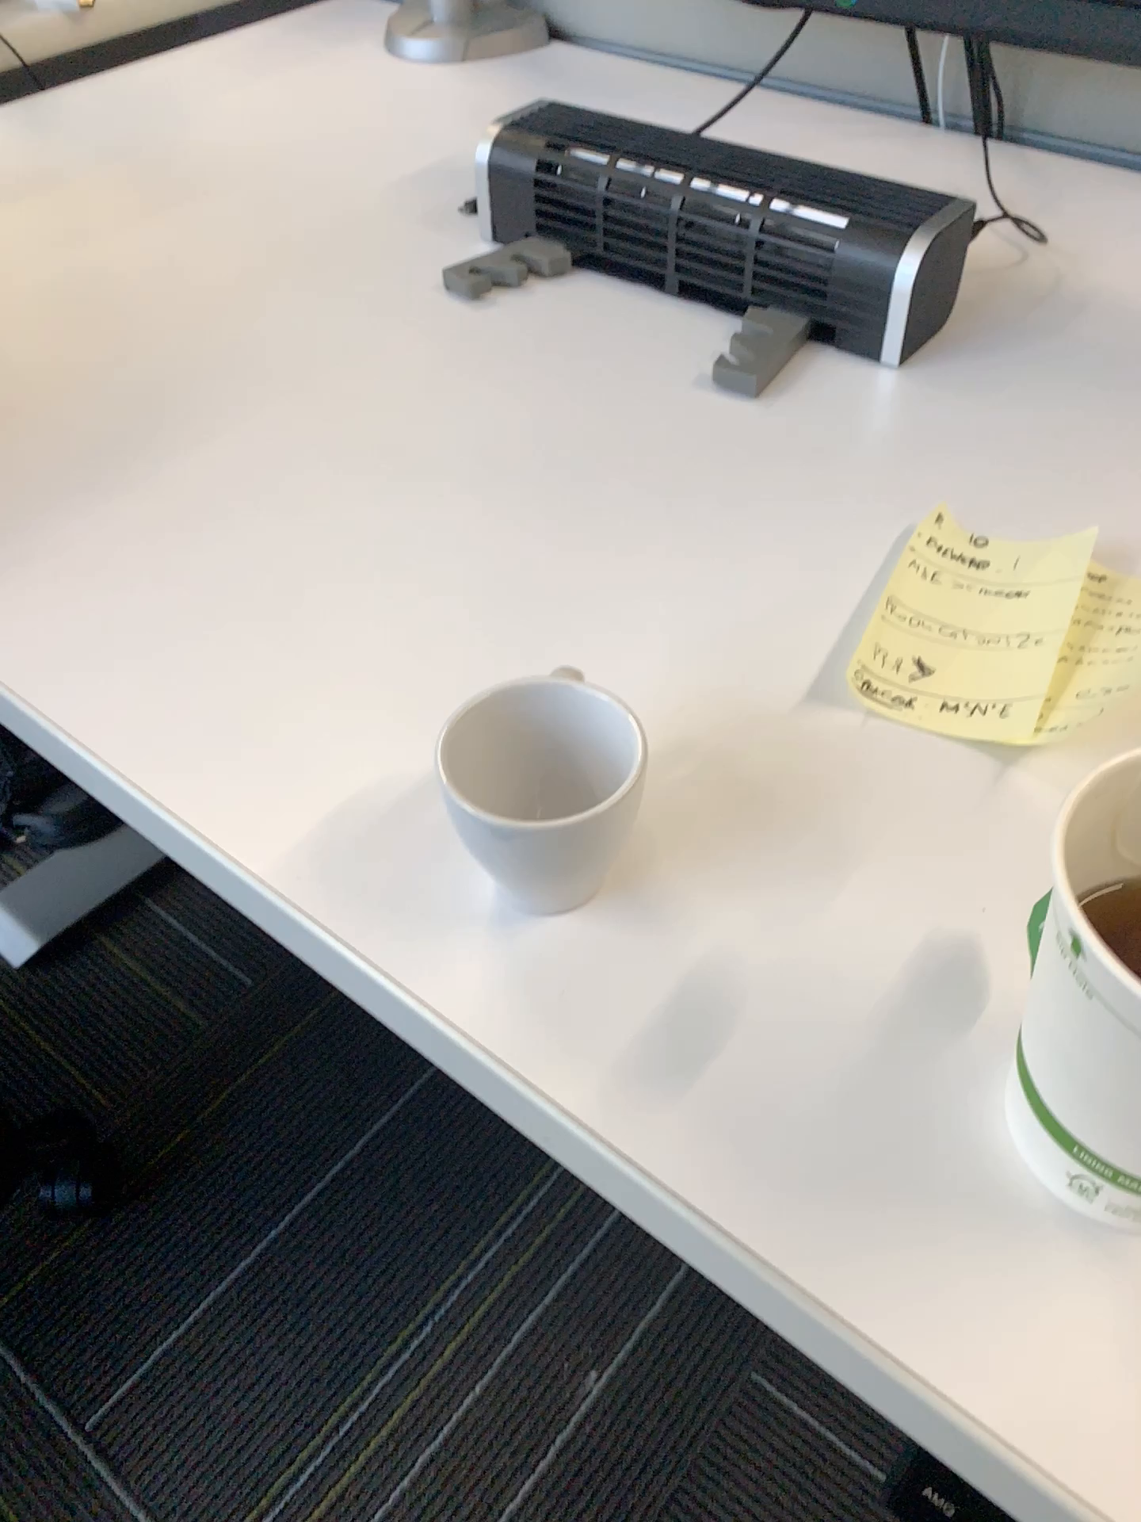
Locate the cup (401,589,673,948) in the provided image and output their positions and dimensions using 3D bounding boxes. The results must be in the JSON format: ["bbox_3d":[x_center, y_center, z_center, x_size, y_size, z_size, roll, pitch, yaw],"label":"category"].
[{"bbox_3d":[-0.006,0.000,0.392,0.070,0.060,0.100,5,47,7],"label":"cup"}]
